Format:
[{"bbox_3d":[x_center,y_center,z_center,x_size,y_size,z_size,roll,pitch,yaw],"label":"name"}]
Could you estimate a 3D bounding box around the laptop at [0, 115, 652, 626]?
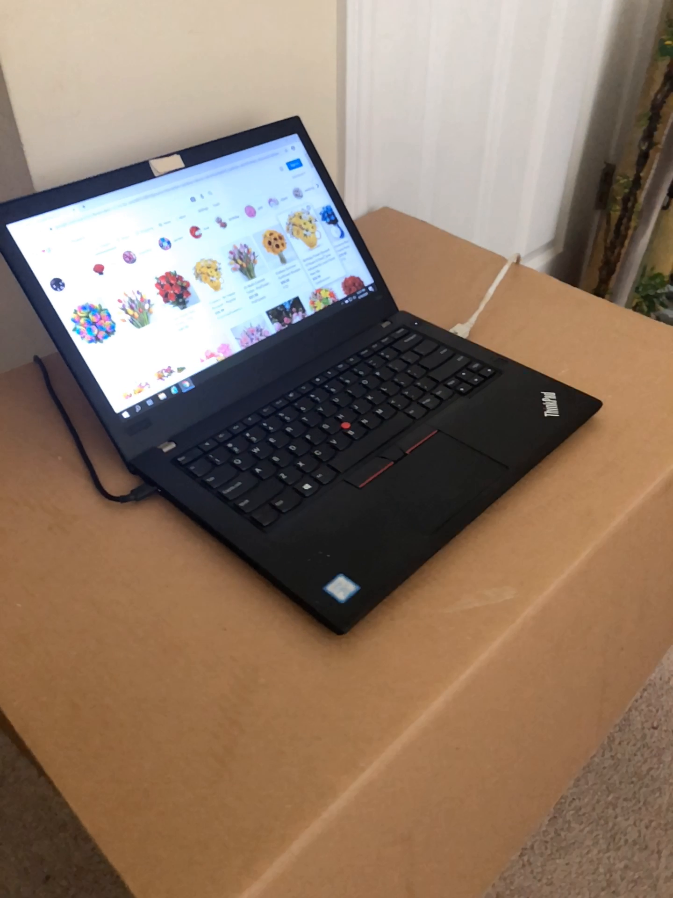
[{"bbox_3d":[-0.019,-0.109,0.583,0.365,0.158,0.323,31,49,32],"label":"laptop"}]
